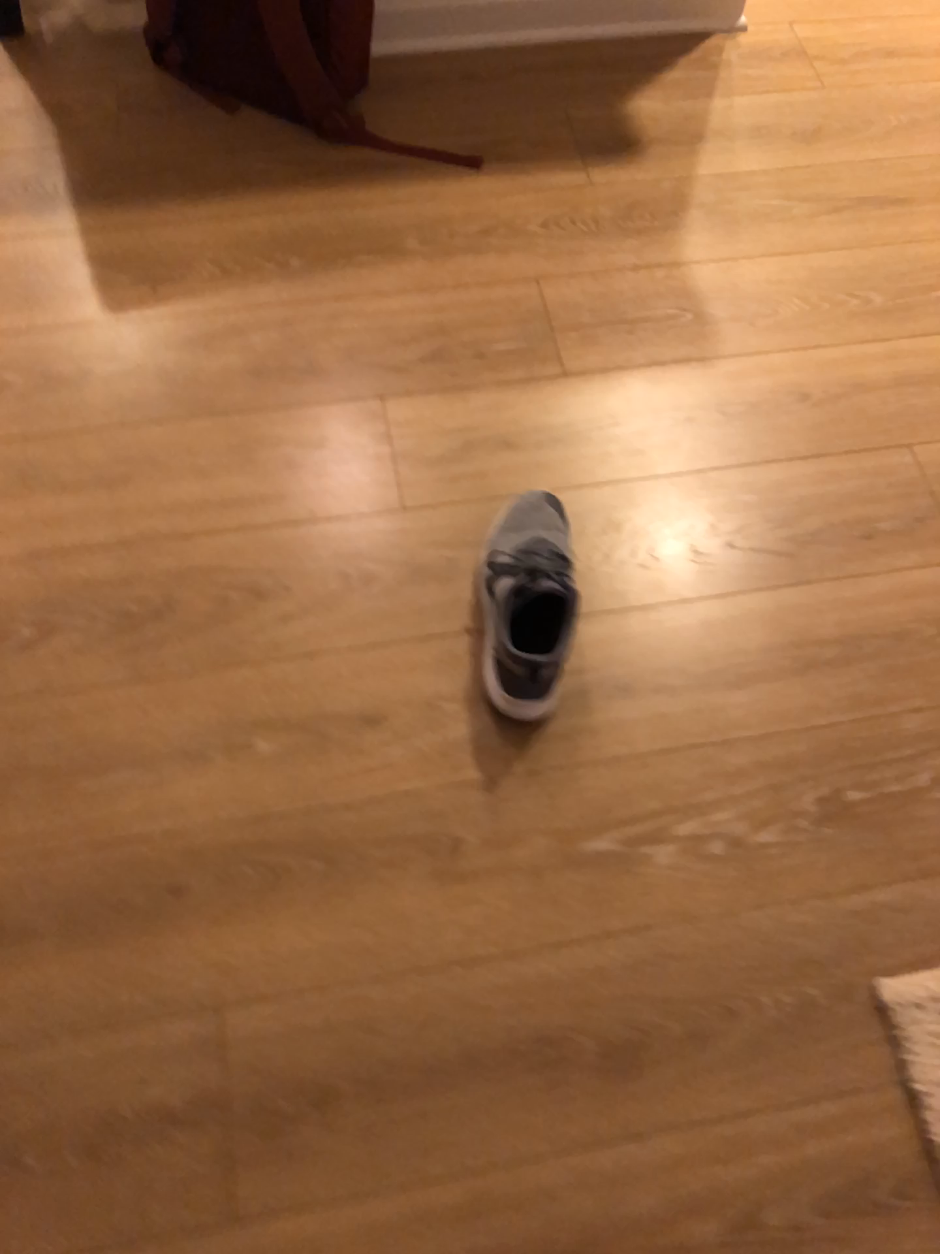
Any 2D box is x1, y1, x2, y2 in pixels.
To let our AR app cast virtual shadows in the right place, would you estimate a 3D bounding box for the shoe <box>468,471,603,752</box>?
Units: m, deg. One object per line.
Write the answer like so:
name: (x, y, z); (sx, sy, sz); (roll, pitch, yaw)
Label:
shoe: (0.077, -0.024, 1.209); (0.140, 0.080, 0.321); (4, 61, -1)
